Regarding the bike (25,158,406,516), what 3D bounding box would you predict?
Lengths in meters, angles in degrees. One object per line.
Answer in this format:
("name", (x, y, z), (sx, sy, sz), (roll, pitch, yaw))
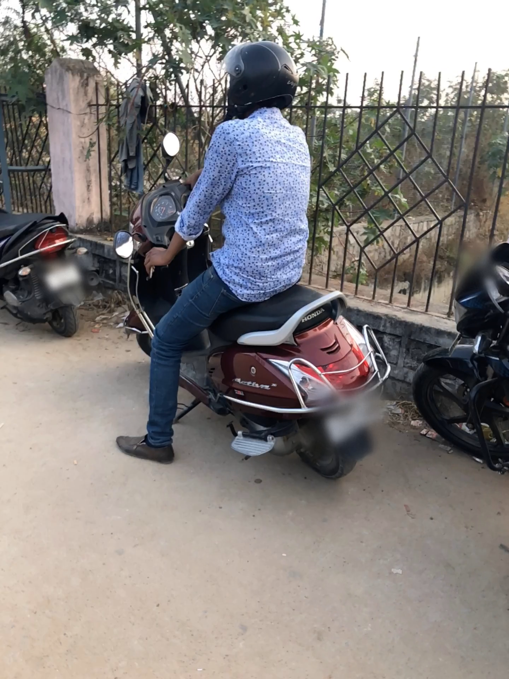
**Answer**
("bike", (-0.278, -0.162, 2.304), (0.578, 0.964, 1.490), (-15, 28, -42))
